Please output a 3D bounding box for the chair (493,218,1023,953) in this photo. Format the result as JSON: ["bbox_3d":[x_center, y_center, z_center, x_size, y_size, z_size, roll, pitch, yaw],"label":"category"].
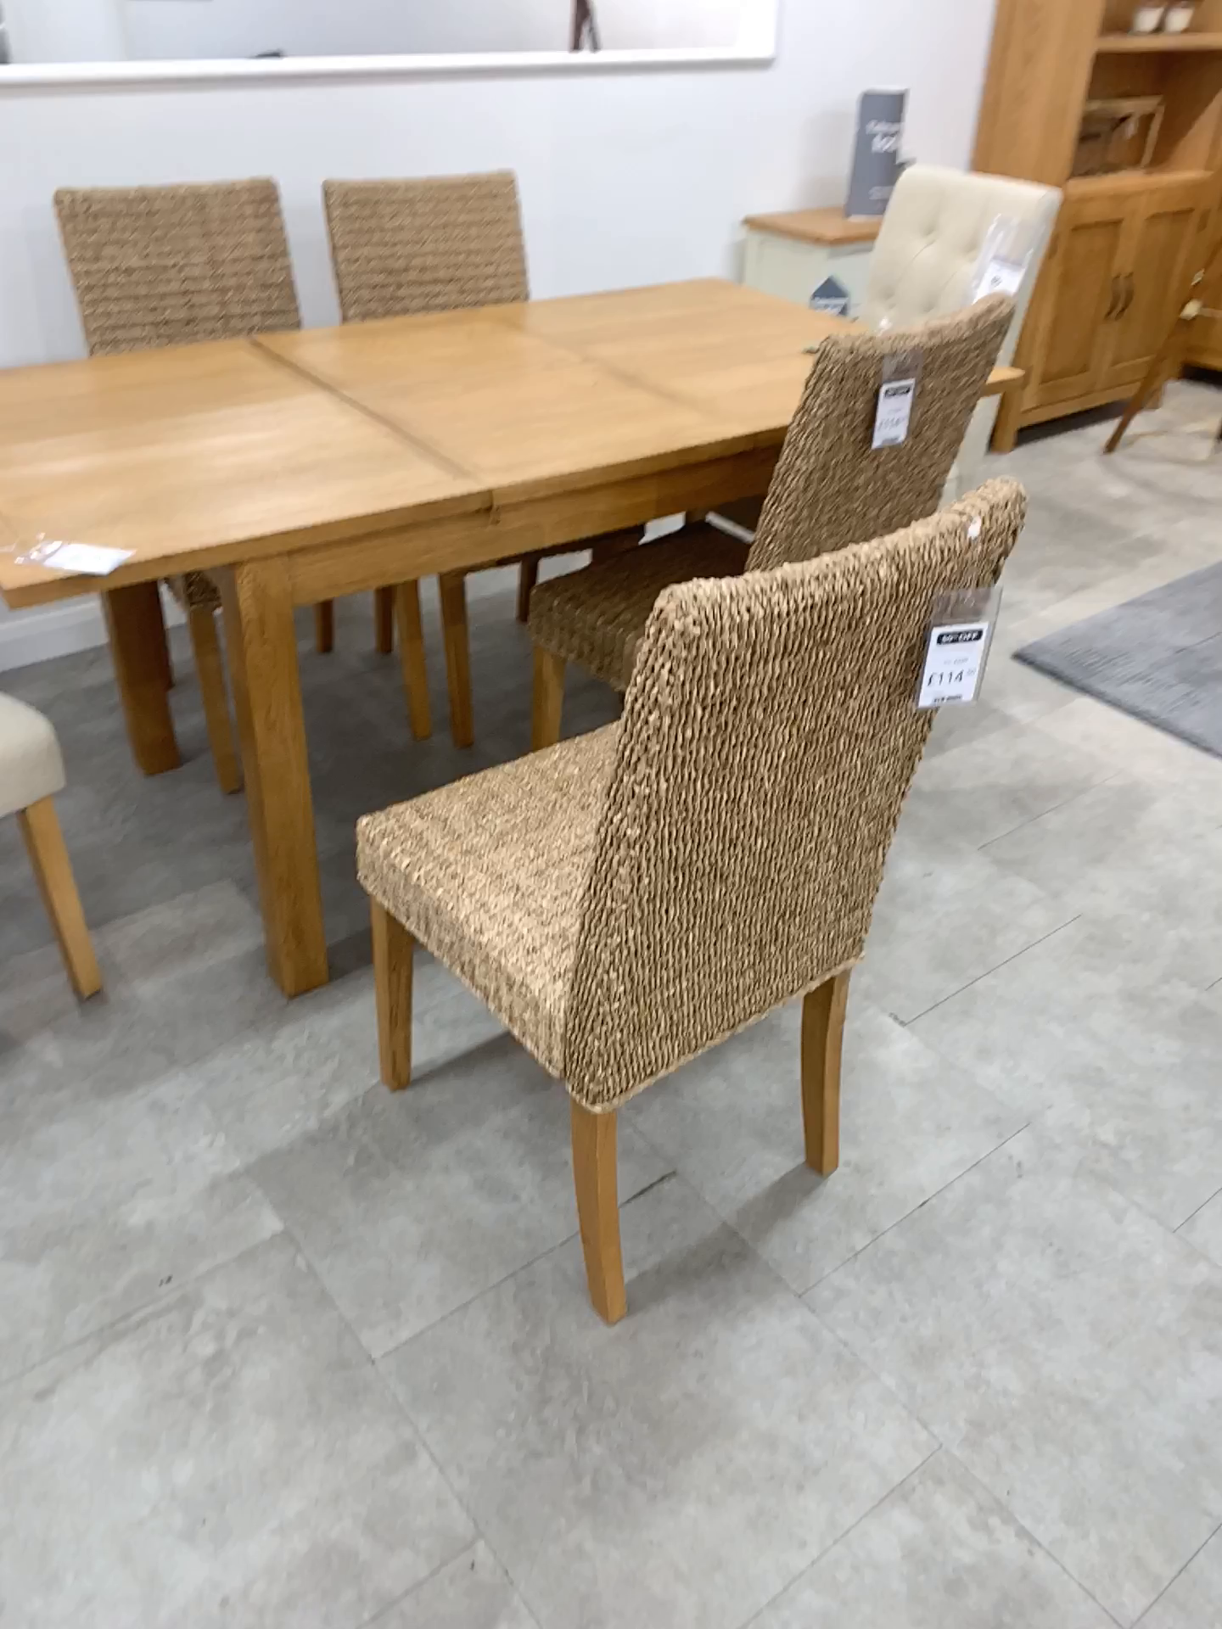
[{"bbox_3d":[0.178,-0.364,1.907,0.439,0.894,0.555,-28,44,-36],"label":"chair"}]

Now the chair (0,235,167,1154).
[{"bbox_3d":[-0.934,-0.150,1.506,0.515,0.903,0.399,28,42,33],"label":"chair"}]

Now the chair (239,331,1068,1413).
[{"bbox_3d":[0.008,0.038,1.355,0.489,0.903,0.566,-23,41,-32],"label":"chair"}]
